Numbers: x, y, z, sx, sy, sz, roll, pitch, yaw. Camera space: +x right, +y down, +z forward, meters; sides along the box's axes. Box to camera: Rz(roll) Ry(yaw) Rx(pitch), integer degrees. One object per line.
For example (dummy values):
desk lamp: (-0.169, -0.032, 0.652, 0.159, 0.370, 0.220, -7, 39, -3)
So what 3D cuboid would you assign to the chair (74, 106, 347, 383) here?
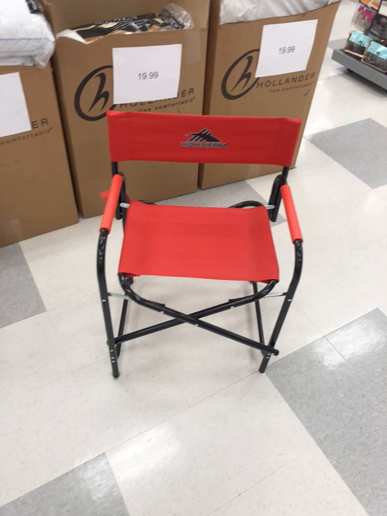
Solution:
chair: (0.019, -0.008, 1.347, 0.592, 0.729, 0.491, 1, 46, -3)
